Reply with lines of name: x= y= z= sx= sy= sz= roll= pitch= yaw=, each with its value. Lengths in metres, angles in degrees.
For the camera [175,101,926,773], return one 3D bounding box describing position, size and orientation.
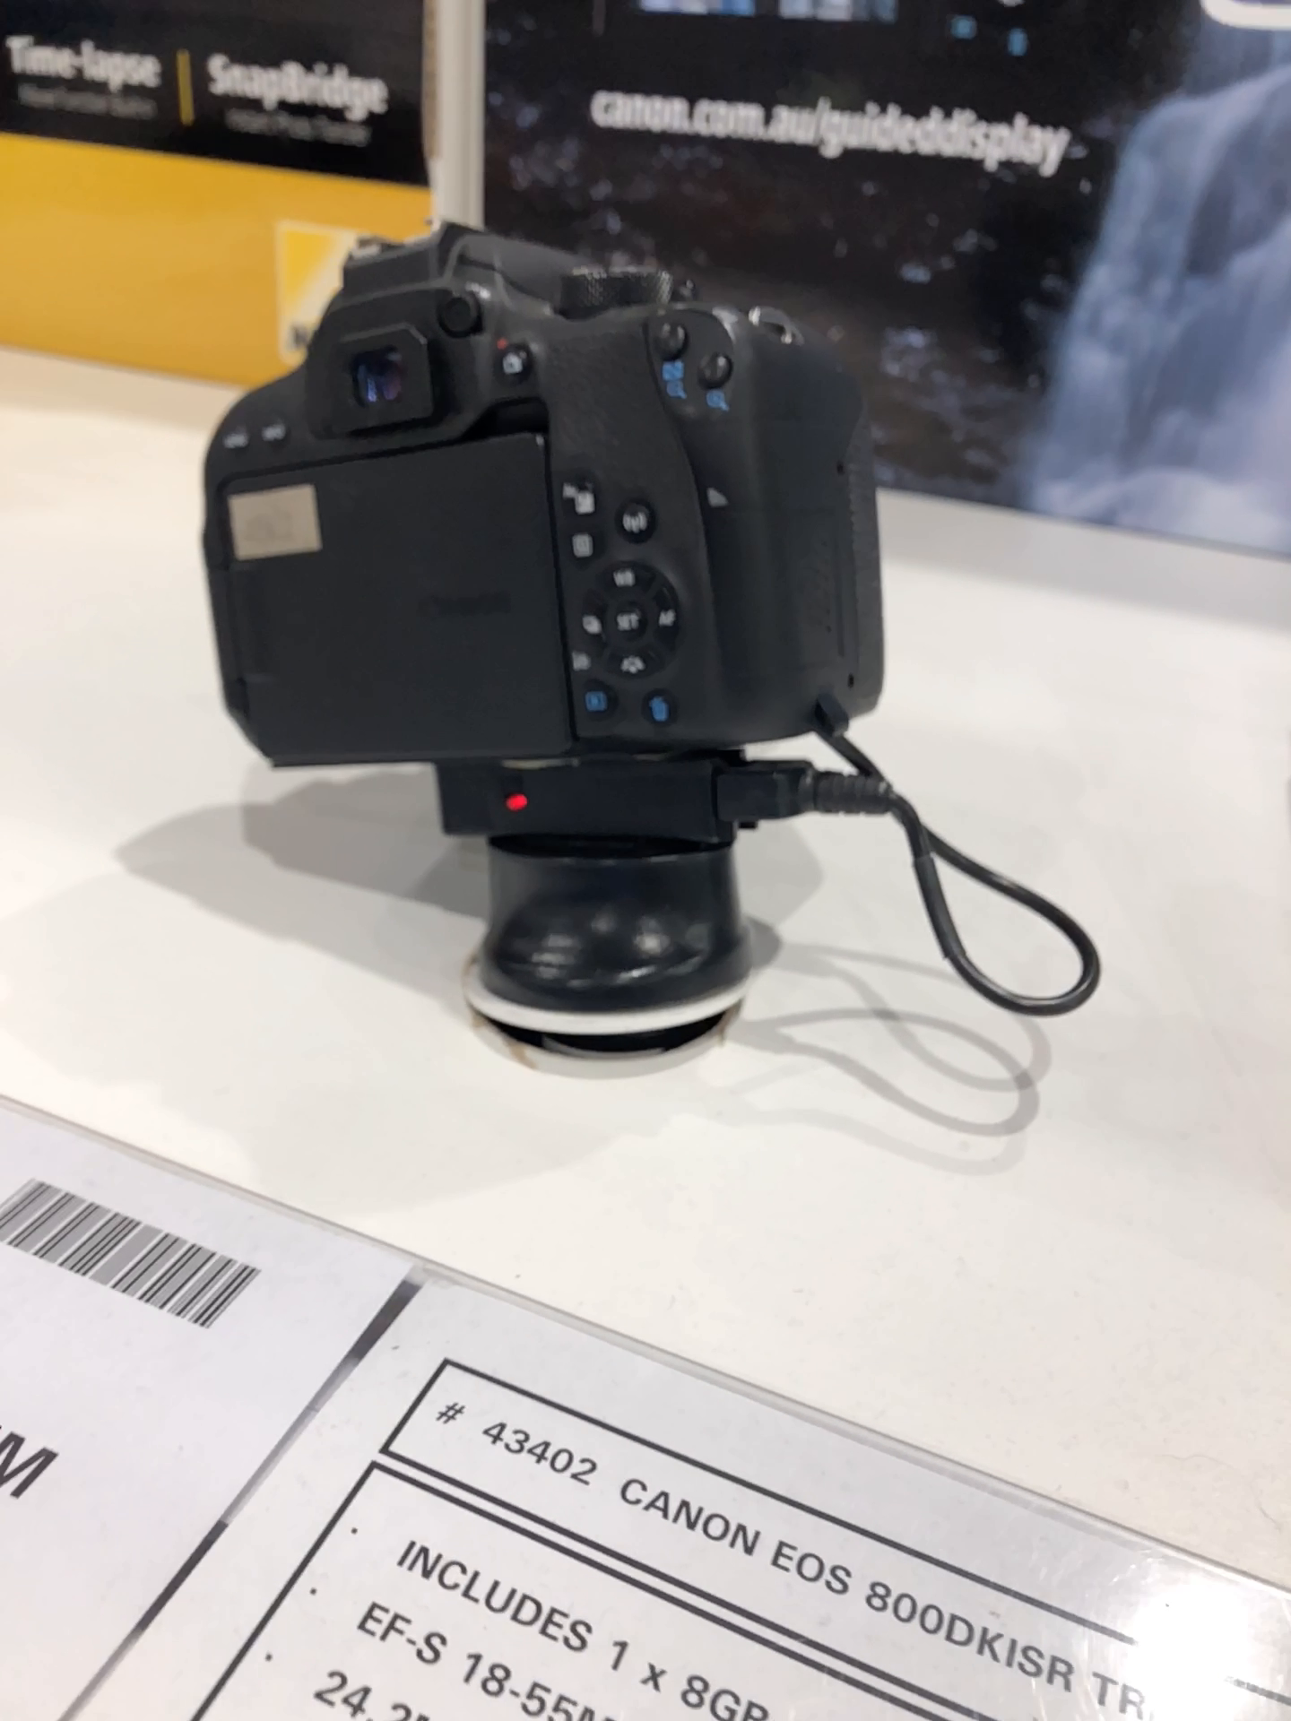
camera: x=-0.018 y=-0.077 z=0.303 sx=0.130 sy=0.105 sz=0.070 roll=-1 pitch=8 yaw=27
